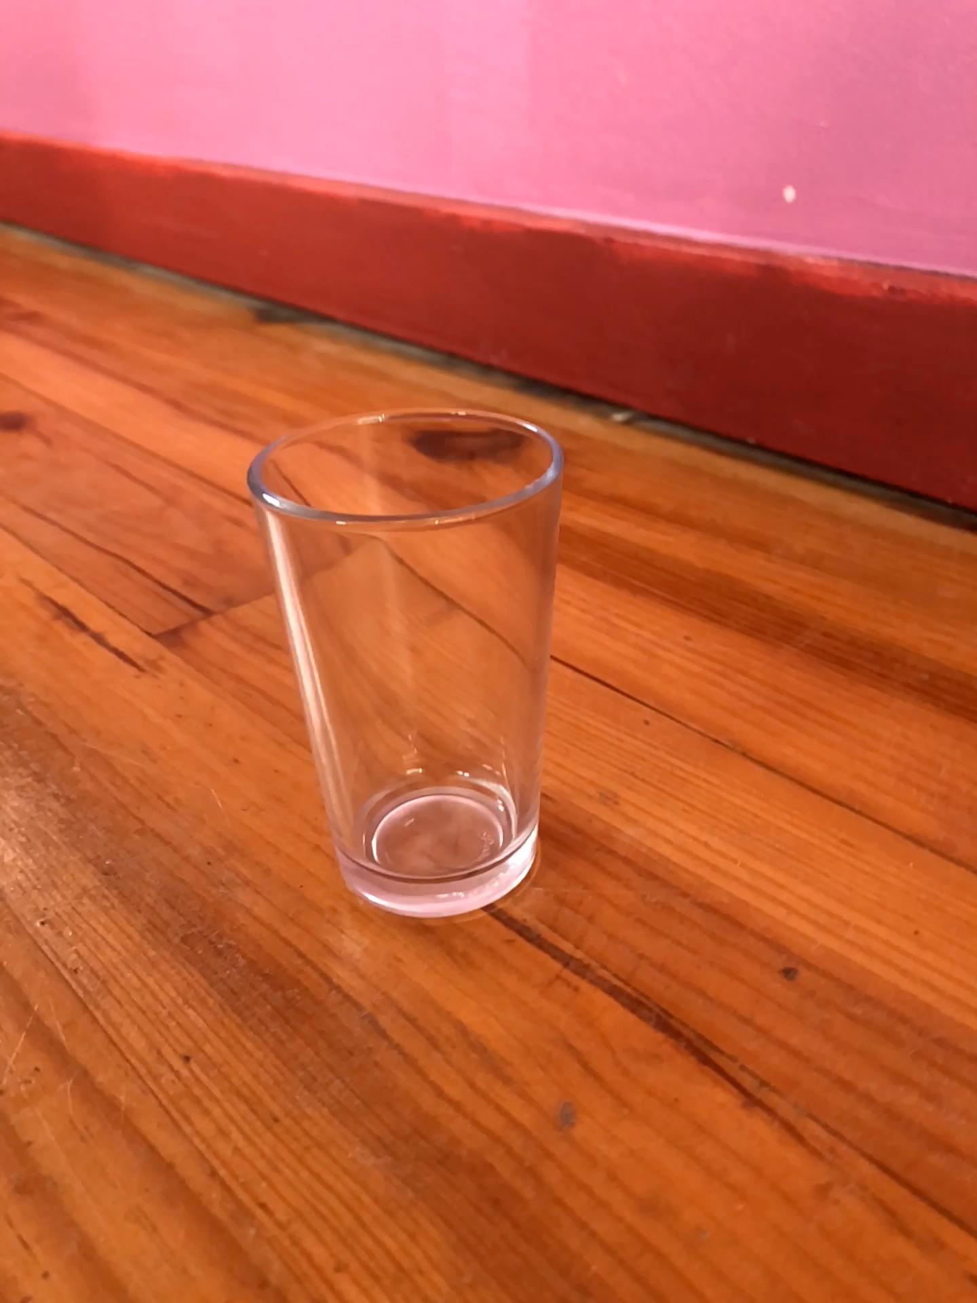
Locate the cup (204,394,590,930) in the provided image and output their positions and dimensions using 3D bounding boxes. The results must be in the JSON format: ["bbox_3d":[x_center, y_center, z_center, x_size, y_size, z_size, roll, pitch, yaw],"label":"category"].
[{"bbox_3d":[-0.010,0.000,0.195,0.054,0.079,0.052,-1,29,1],"label":"cup"}]
